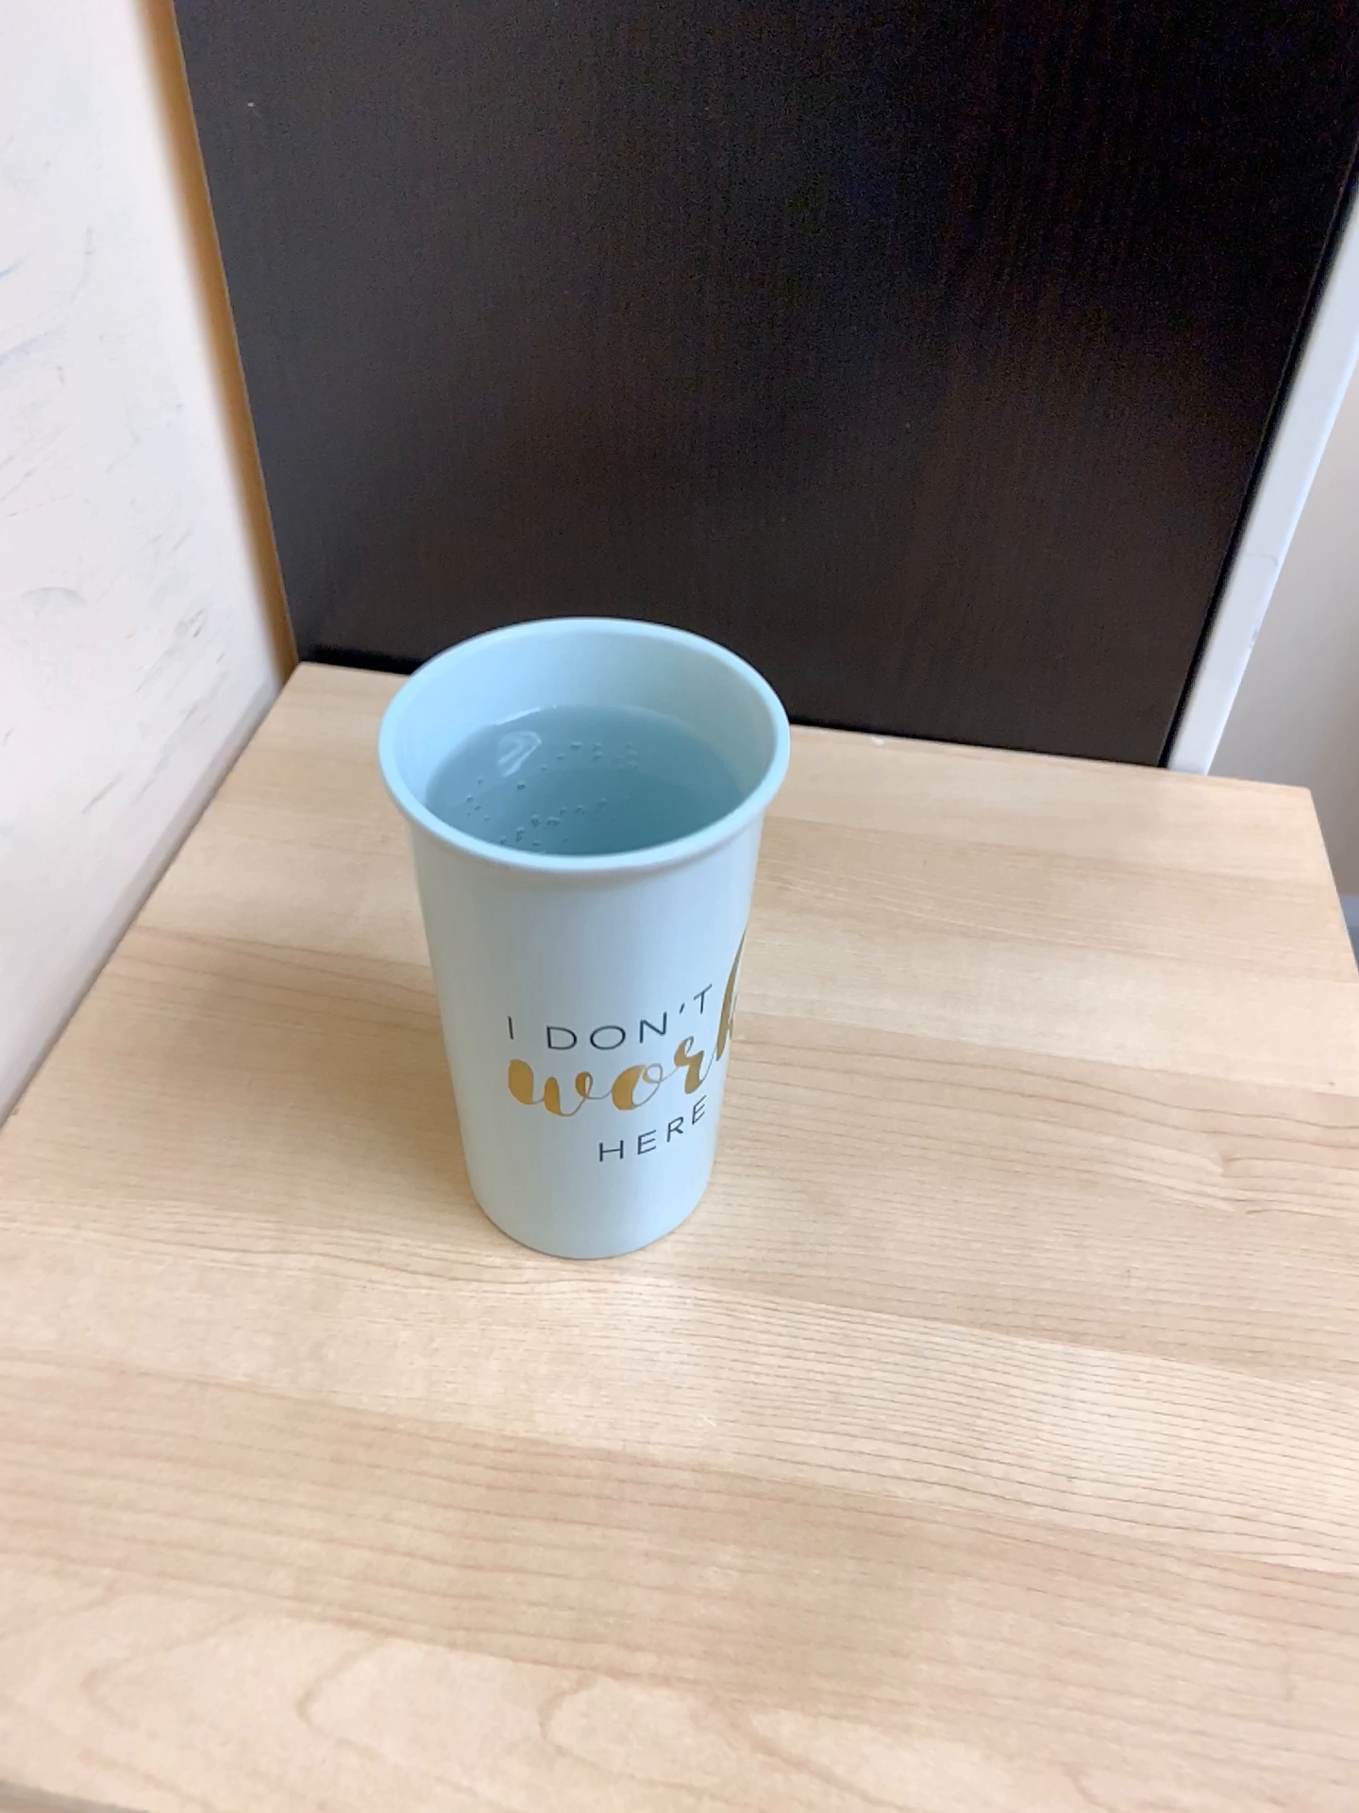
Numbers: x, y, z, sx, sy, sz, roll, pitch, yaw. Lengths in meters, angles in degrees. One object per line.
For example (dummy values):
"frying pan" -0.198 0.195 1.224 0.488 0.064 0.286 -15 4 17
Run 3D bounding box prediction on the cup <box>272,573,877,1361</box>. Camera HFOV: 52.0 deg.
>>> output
"cup" -0.024 0.017 0.363 0.090 0.155 0.100 32 51 28
